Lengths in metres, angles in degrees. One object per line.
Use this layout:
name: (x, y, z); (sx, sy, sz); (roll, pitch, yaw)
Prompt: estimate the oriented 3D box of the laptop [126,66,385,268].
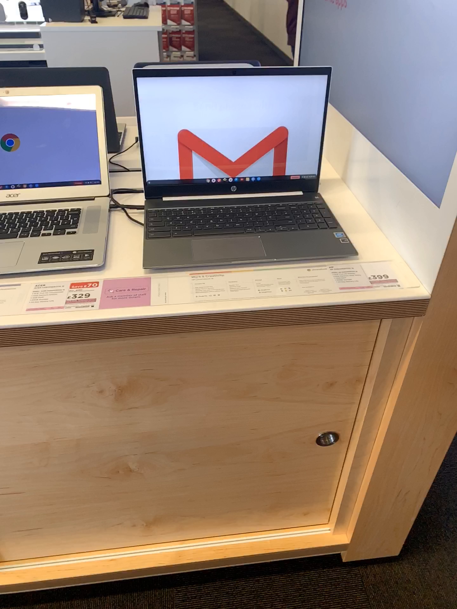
laptop: (0.022, -0.244, 0.795); (0.351, 0.228, 0.266); (-4, 39, -6)
